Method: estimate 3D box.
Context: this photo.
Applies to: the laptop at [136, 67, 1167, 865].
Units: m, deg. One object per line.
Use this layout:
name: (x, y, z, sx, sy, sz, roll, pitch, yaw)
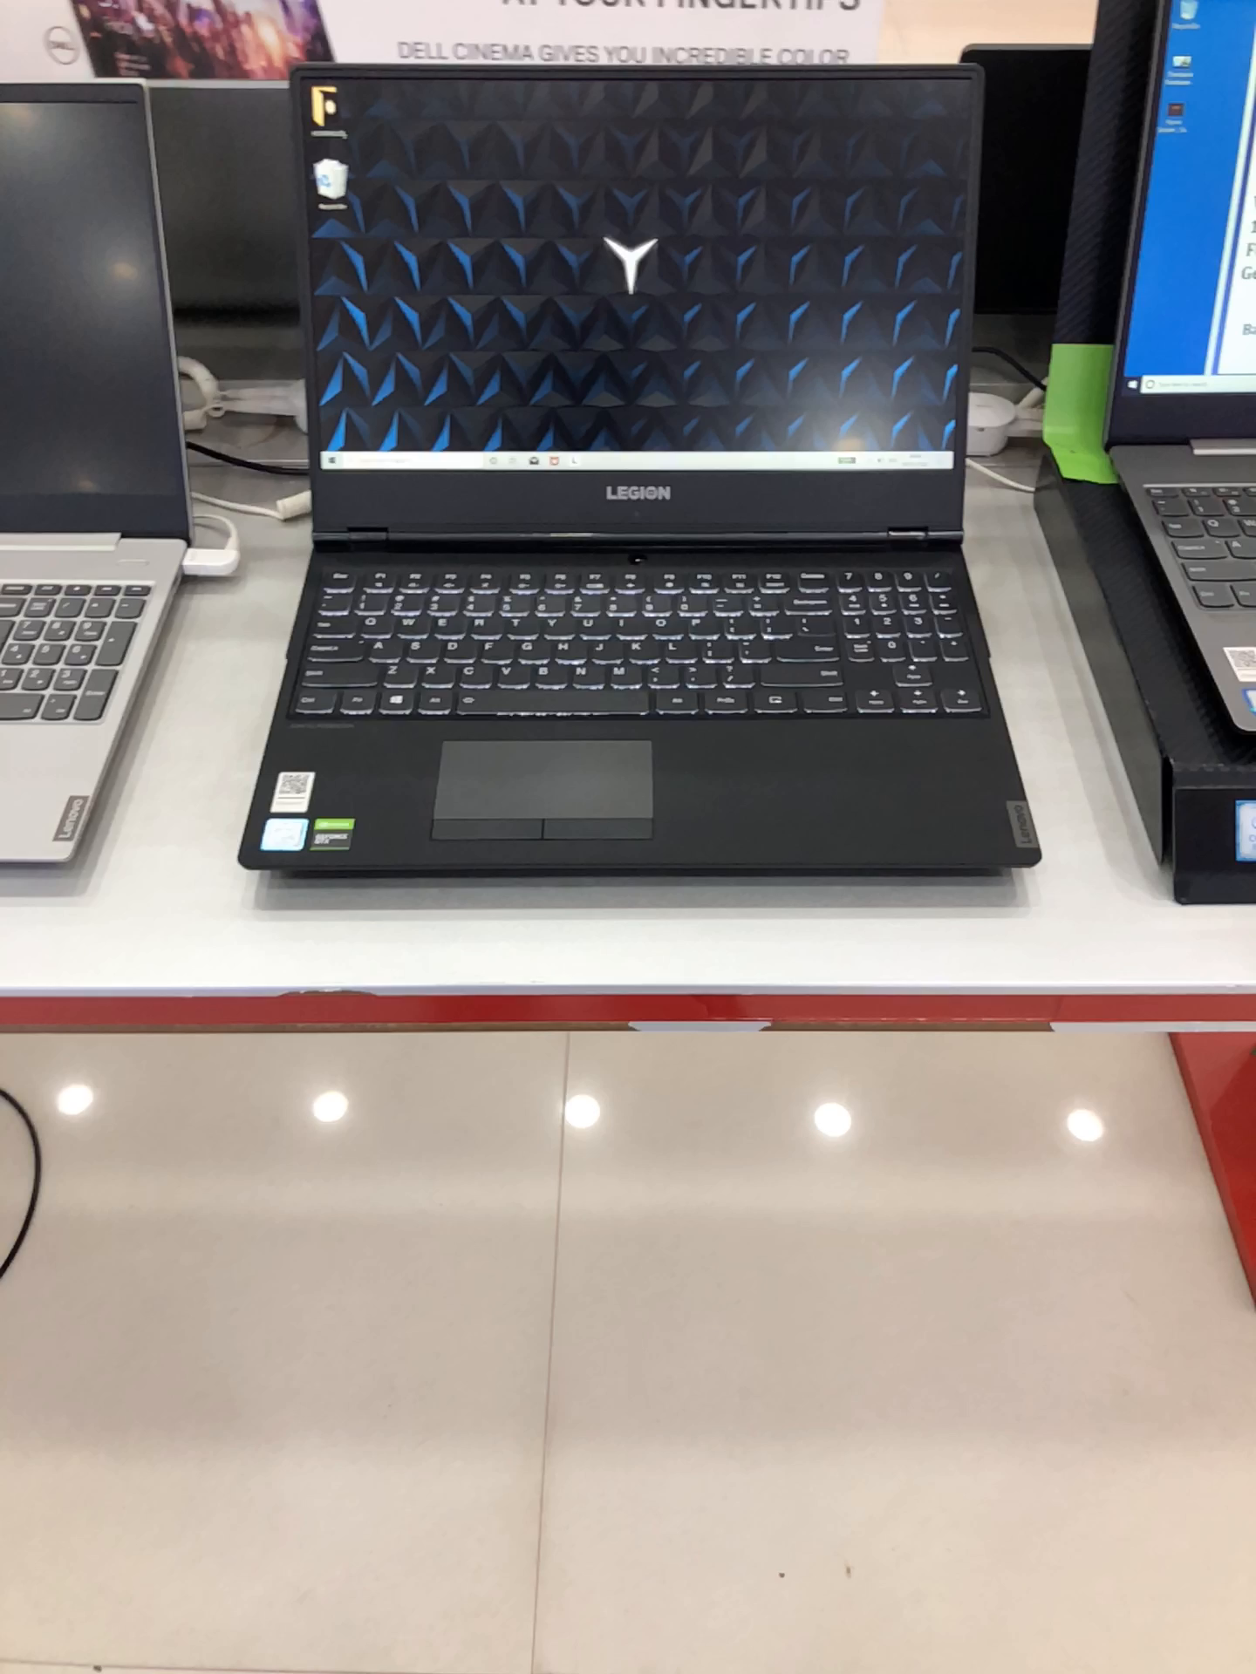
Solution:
laptop: (0.007, -0.184, 0.633, 0.333, 0.191, 0.349, 0, 48, -1)
